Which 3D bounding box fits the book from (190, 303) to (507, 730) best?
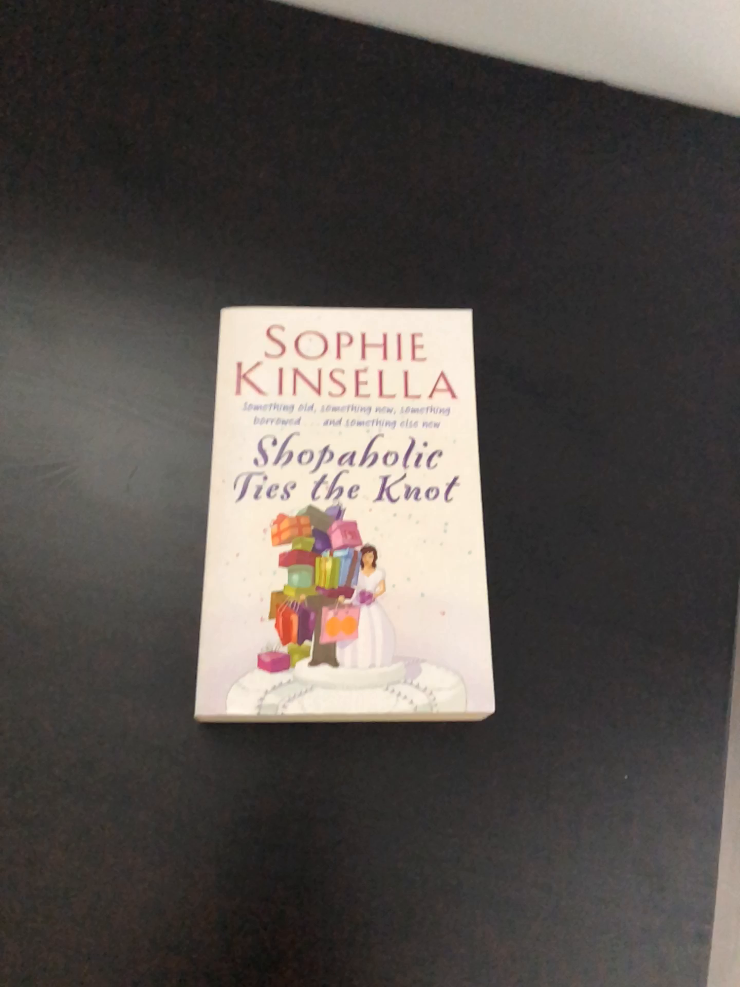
[{"bbox_3d":[-0.009,0.006,0.386,0.130,0.035,0.200,1,69,-2],"label":"book"}]
